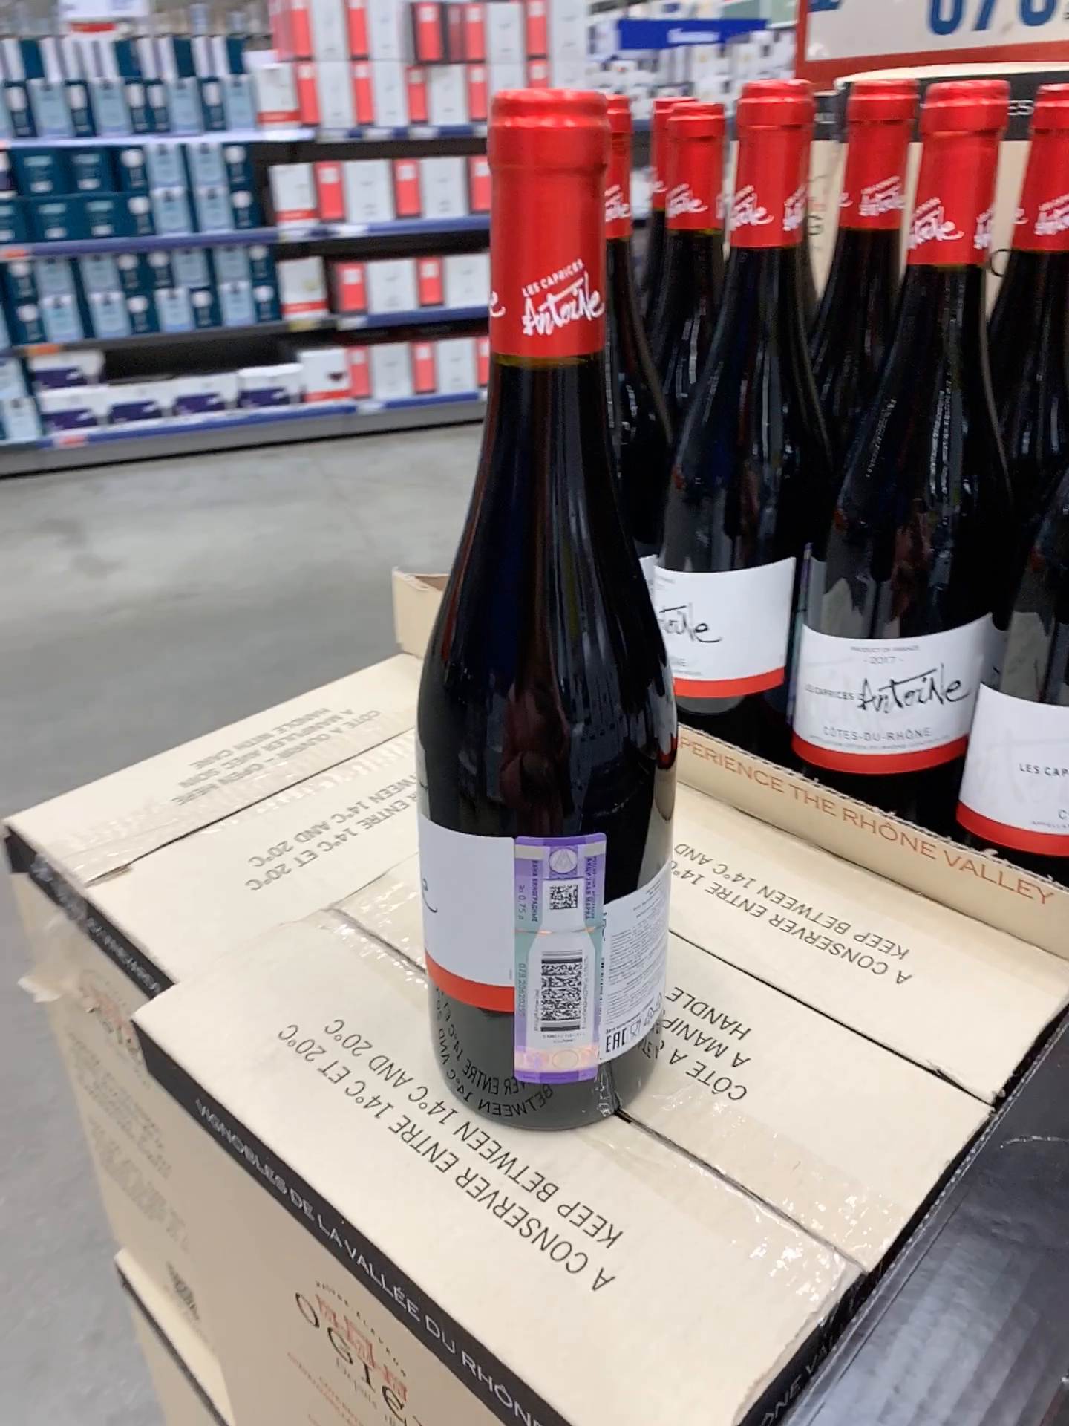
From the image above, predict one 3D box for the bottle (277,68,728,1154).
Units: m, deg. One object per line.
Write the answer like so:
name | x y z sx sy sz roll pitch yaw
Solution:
bottle | 0.002 -0.015 0.326 0.090 0.298 0.090 -1 28 1
